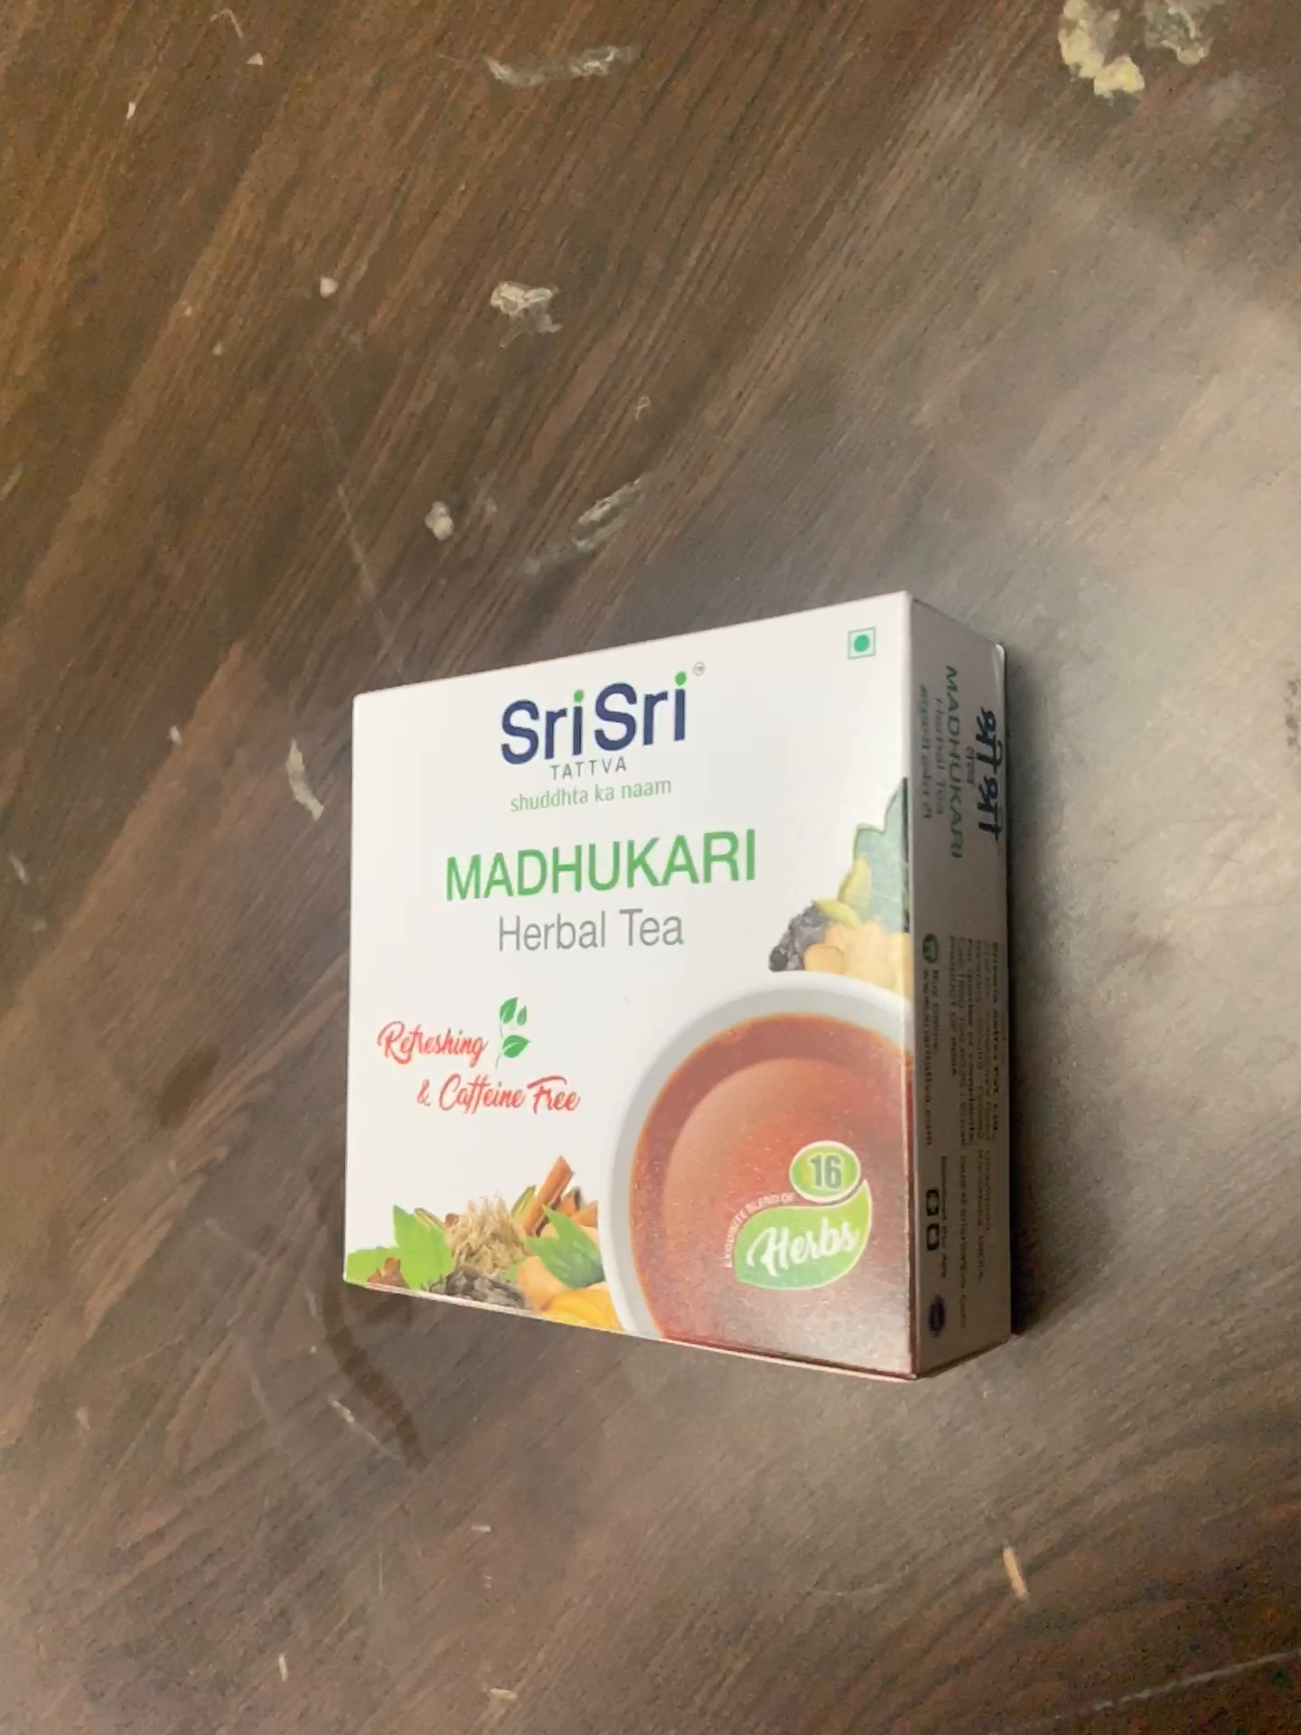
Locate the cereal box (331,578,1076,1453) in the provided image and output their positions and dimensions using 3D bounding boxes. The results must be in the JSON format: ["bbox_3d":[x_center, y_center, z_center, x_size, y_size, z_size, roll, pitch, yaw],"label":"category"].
[{"bbox_3d":[0.002,0.023,0.240,0.131,0.040,0.120,-4,85,36],"label":"cereal box"}]
